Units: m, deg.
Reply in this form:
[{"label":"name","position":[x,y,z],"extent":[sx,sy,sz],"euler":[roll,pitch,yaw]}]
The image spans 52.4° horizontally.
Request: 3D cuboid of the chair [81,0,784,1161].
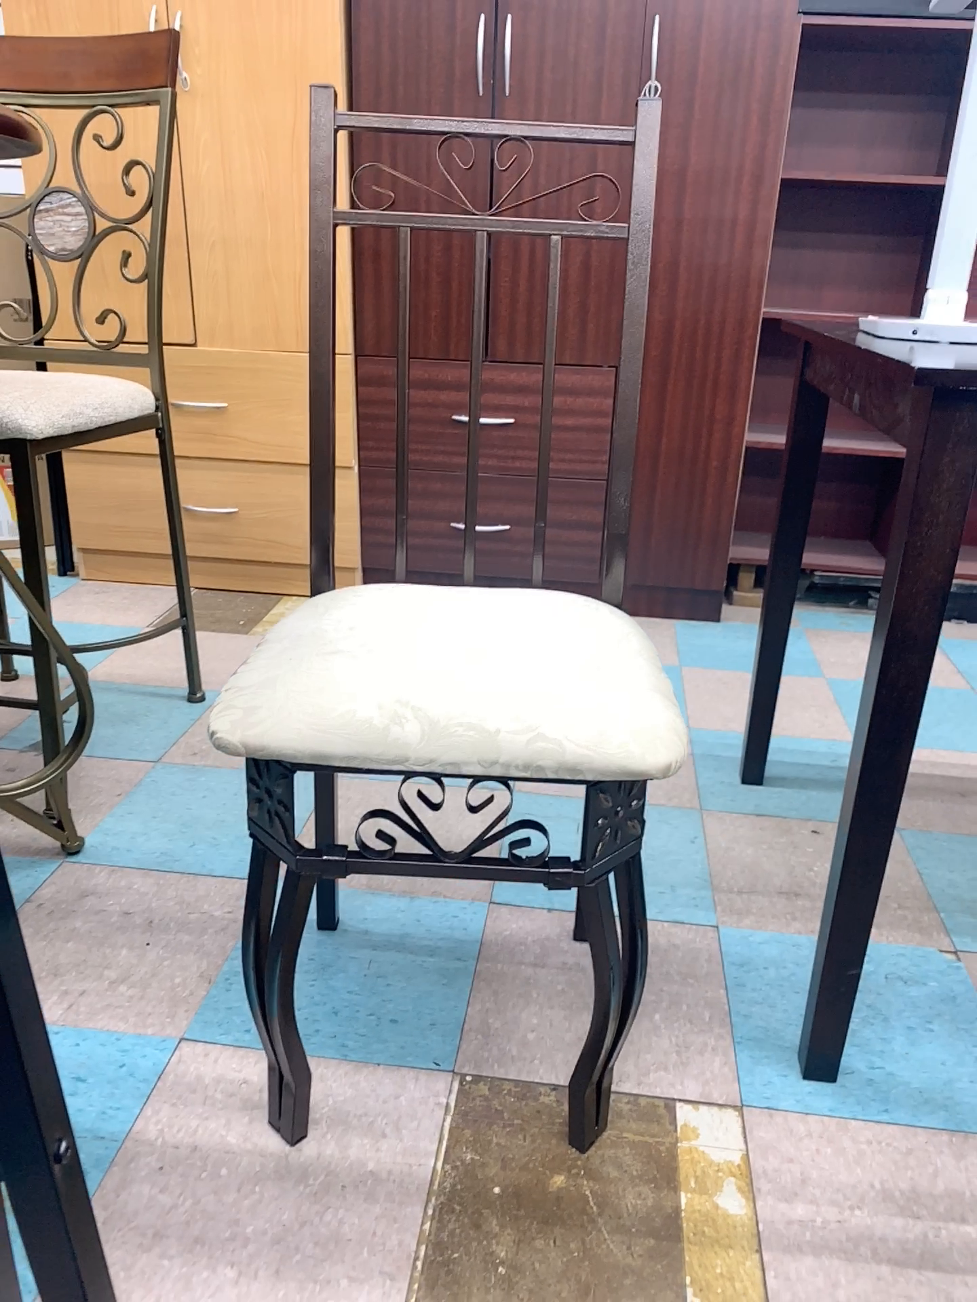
[{"label":"chair","position":[-0.042,-0.059,0.982],"extent":[0.415,0.951,0.478],"euler":[2,22,1]}]
